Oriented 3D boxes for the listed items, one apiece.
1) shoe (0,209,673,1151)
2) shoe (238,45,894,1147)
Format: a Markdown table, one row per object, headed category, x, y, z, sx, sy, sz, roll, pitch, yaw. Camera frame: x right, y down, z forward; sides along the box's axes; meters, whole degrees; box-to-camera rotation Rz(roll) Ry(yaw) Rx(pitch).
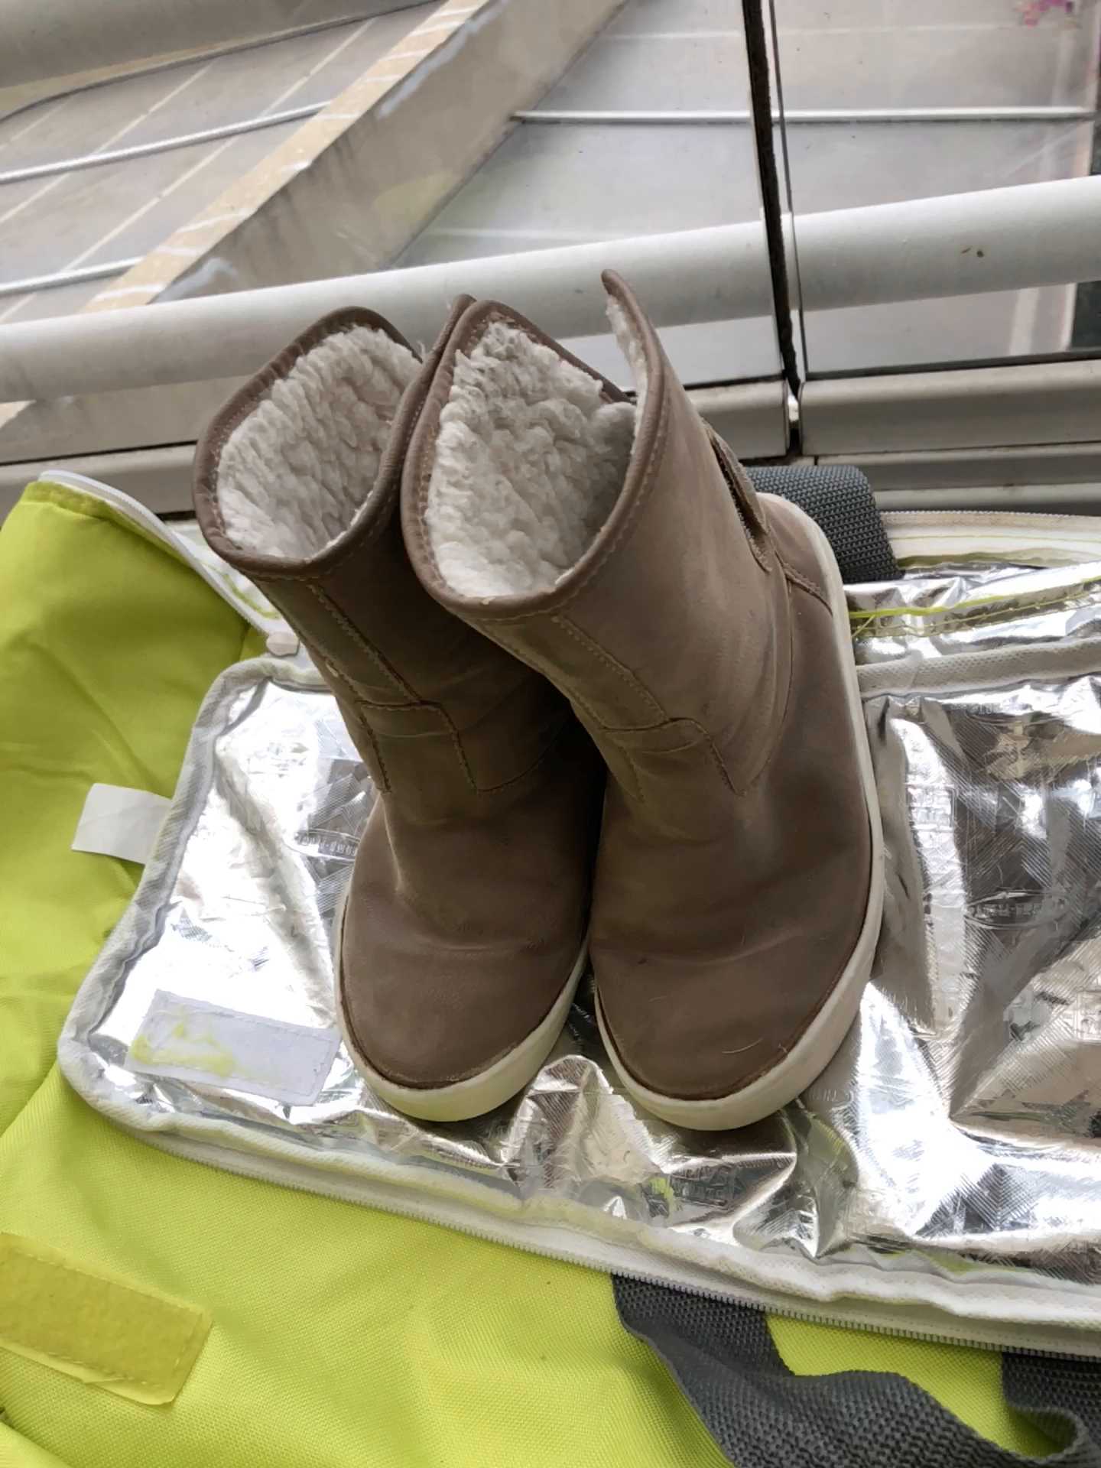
| category | x | y | z | sx | sy | sz | roll | pitch | yaw |
| --- | --- | --- | --- | --- | --- | --- | --- | --- | --- |
| shoe | -0.043 | 0.002 | 0.330 | 0.089 | 0.169 | 0.191 | -1 | 69 | 23 |
| shoe | 0.029 | -0.013 | 0.299 | 0.089 | 0.169 | 0.201 | -2 | 68 | 22 |
